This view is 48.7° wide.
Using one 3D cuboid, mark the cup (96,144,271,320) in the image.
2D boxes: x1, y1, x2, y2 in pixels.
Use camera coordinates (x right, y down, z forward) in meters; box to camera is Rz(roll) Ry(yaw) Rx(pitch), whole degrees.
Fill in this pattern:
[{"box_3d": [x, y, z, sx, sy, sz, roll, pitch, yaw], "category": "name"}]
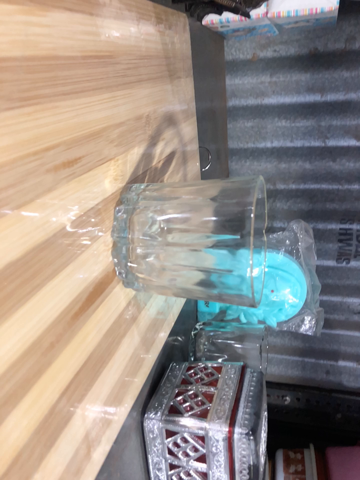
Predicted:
[{"box_3d": [0.010, 0.000, 0.240, 0.080, 0.080, 0.080, 2, 90, -75], "category": "cup"}]
